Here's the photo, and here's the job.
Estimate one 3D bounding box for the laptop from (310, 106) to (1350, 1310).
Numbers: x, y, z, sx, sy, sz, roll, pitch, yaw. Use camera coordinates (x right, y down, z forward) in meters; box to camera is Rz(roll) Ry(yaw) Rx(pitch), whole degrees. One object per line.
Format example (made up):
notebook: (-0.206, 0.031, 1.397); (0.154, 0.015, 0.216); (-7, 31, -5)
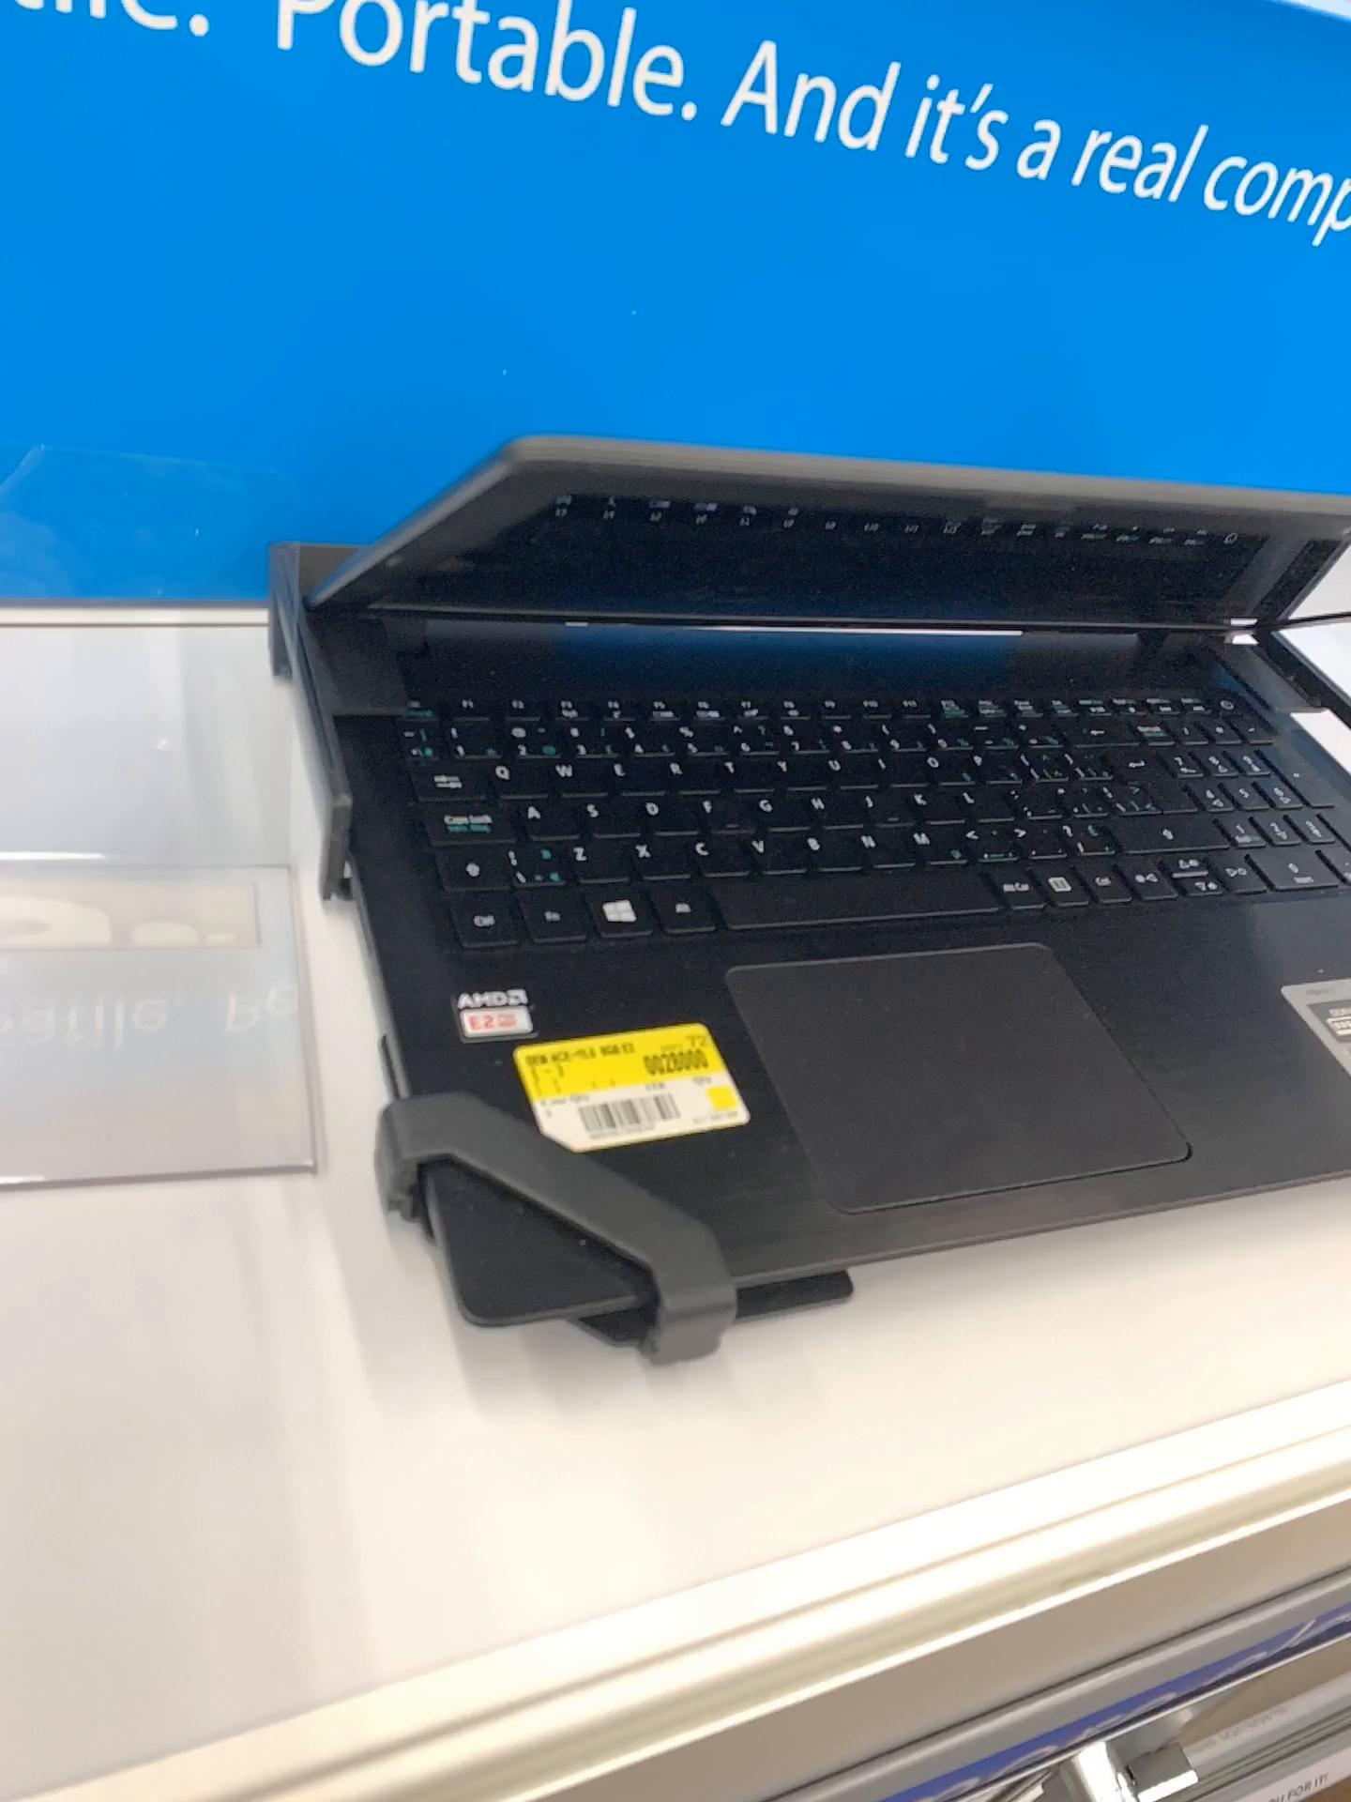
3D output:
laptop: (0.107, -0.061, 0.369); (0.364, 0.137, 0.222); (-3, 48, -24)
